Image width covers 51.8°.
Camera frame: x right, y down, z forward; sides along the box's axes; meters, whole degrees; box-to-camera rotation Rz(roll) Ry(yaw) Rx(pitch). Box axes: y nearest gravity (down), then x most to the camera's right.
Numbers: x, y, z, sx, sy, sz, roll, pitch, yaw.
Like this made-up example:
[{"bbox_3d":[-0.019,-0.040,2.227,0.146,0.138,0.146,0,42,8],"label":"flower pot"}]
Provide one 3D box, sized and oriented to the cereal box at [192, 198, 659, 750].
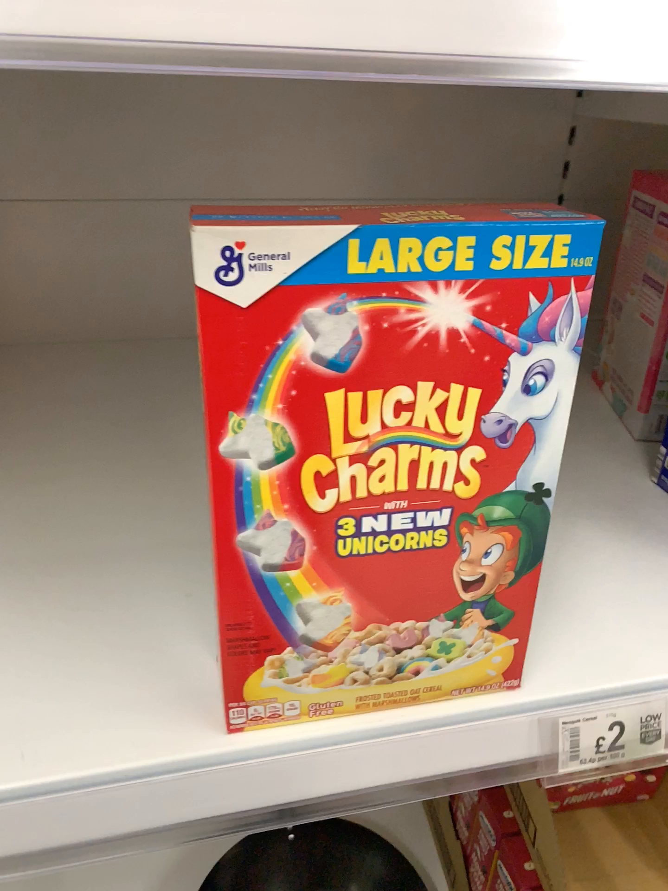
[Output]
[{"bbox_3d":[0.036,0.021,0.391,0.210,0.297,0.071,-4,26,-12],"label":"cereal box"}]
